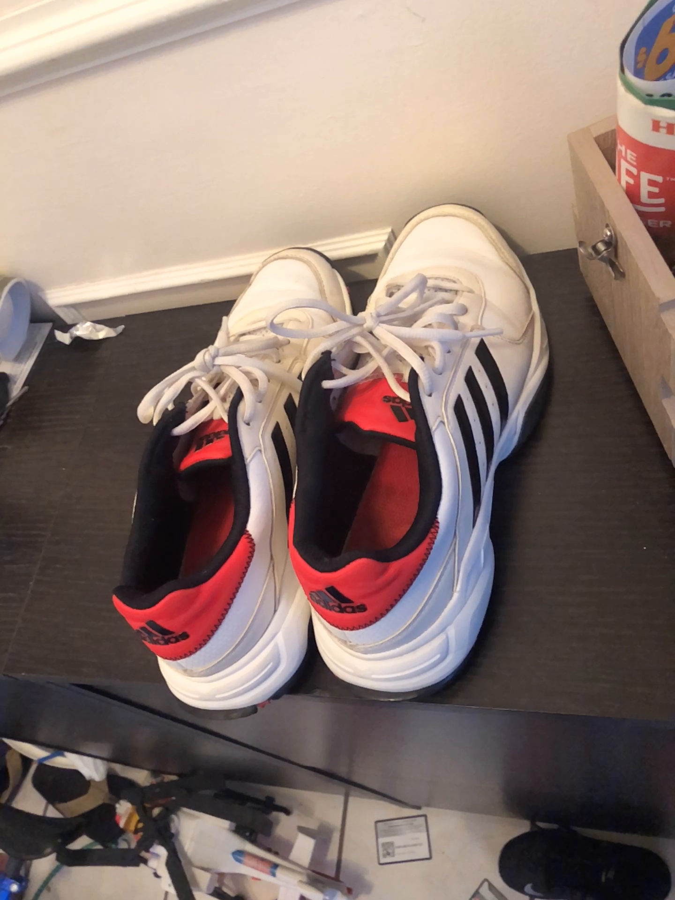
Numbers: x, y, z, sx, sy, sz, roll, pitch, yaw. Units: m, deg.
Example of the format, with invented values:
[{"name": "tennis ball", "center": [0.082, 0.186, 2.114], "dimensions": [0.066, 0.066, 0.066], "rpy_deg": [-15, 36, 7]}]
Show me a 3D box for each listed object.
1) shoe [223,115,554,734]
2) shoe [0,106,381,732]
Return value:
[{"name": "shoe", "center": [0.048, -0.025, 0.403], "dimensions": [0.110, 0.099, 0.311], "rpy_deg": [-2, 60, 24]}, {"name": "shoe", "center": [-0.060, -0.025, 0.402], "dimensions": [0.110, 0.109, 0.311], "rpy_deg": [-5, 58, 22]}]
